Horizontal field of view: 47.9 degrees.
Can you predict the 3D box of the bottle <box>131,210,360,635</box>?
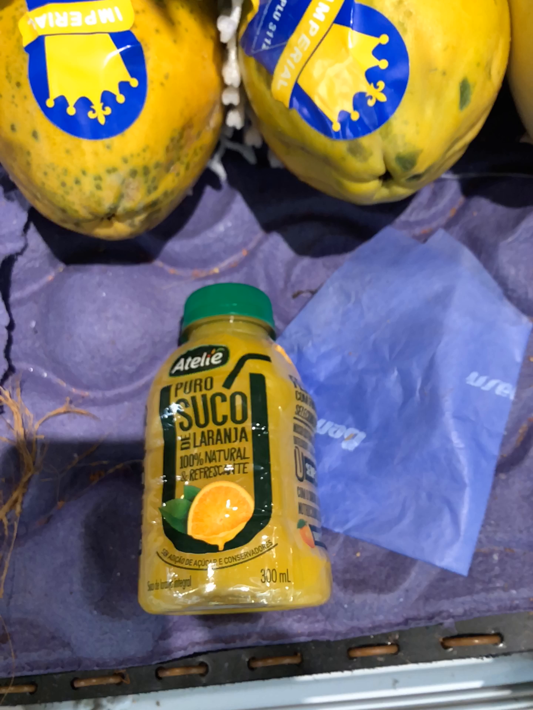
[{"bbox_3d":[-0.008,0.025,0.232,0.070,0.060,0.140,-6,72,6],"label":"bottle"}]
